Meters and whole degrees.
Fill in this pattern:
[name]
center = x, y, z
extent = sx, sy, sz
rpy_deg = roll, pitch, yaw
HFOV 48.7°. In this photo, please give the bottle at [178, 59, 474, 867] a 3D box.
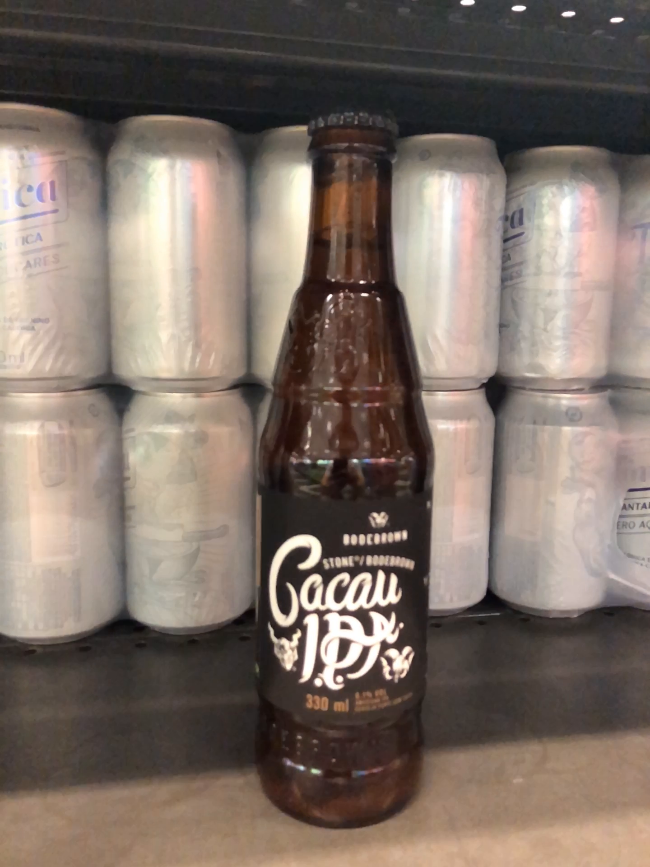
[bottle]
center = -0.005, 0.016, 0.251
extent = 0.080, 0.249, 0.070
rpy_deg = 1, 11, -3
